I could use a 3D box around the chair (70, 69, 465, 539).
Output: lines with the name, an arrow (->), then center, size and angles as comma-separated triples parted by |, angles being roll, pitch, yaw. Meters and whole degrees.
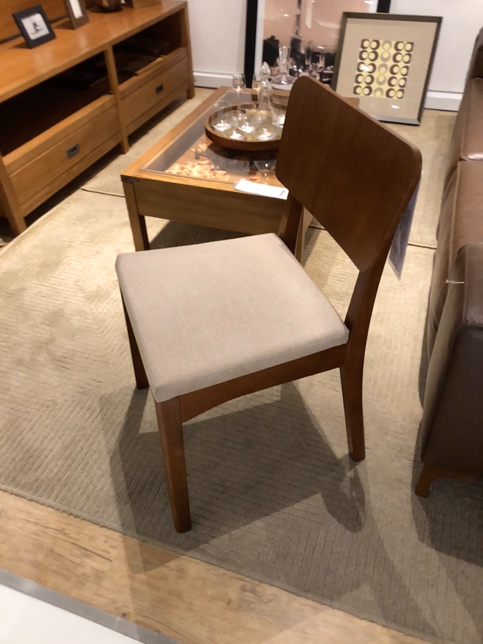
chair -> 0.009, -0.034, 1.172 | 0.530, 0.793, 0.514 | -14, 42, -13
